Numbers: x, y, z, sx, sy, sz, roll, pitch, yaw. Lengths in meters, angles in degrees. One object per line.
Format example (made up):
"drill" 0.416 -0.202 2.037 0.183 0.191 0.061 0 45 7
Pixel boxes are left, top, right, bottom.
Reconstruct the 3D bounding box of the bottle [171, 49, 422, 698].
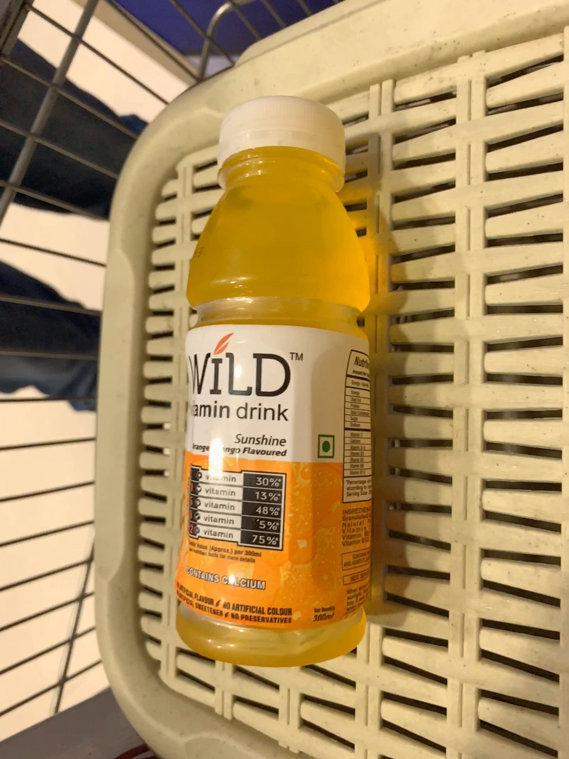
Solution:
"bottle" 0.008 -0.002 0.196 0.060 0.060 0.170 1 88 23
